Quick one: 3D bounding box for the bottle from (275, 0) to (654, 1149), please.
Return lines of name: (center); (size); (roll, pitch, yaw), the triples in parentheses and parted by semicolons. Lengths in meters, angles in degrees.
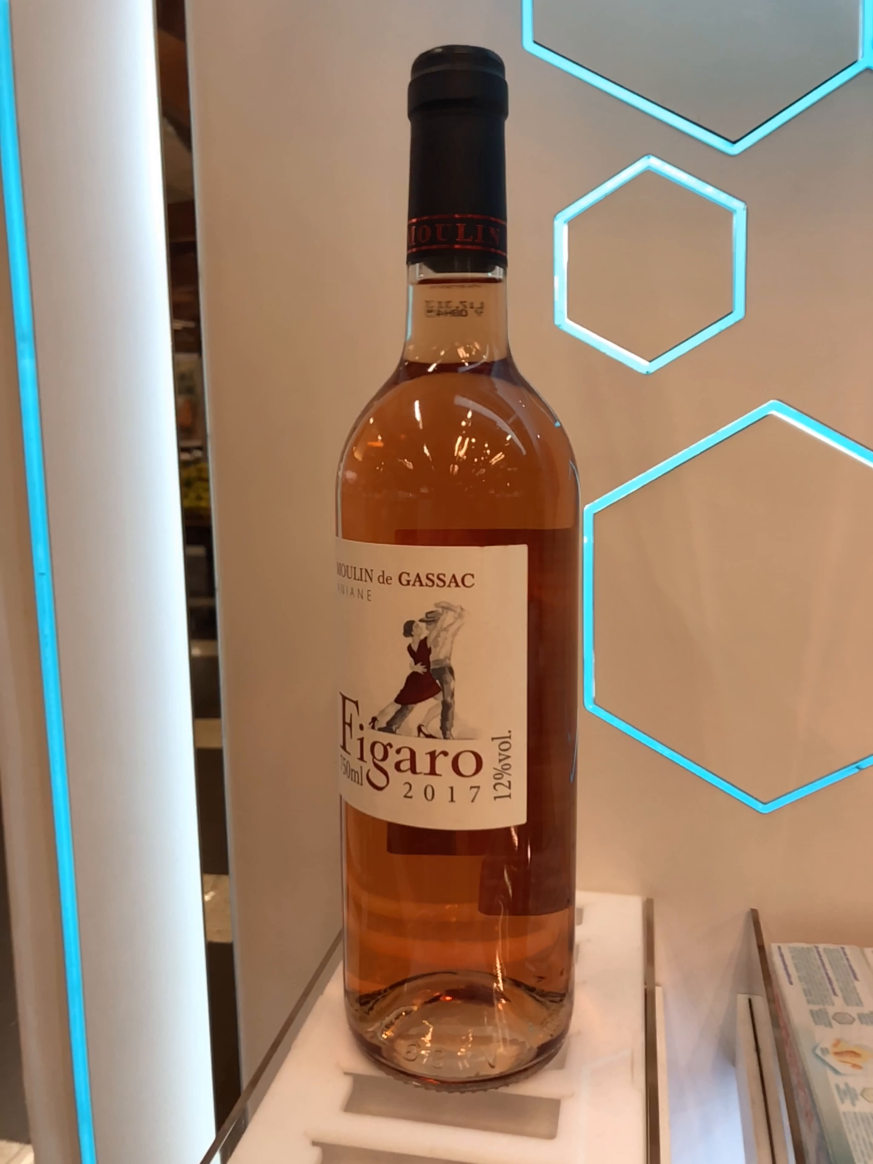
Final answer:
bottle: (0.012, -0.005, 0.316); (0.090, 0.319, 0.080); (3, 7, 31)
